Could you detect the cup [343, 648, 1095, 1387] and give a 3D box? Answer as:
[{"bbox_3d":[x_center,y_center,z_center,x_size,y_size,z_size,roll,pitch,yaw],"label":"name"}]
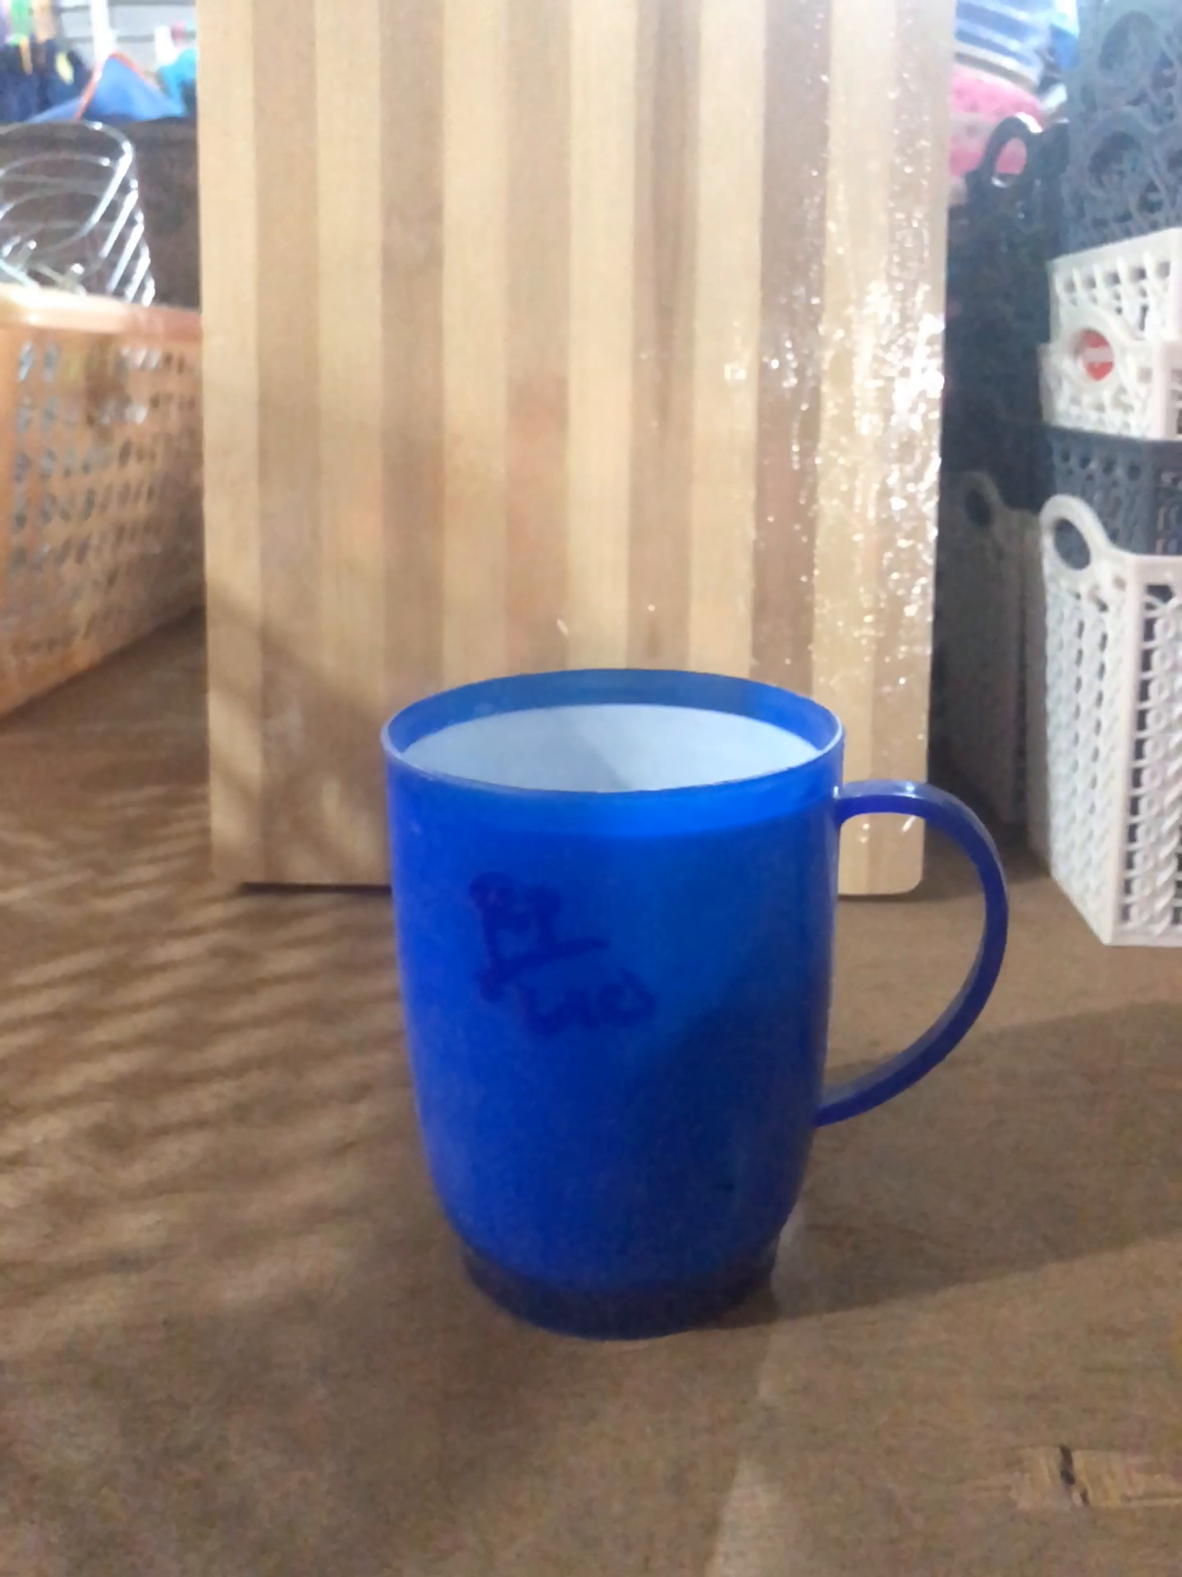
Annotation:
[{"bbox_3d":[0.022,0.036,0.244,0.110,0.110,0.070,1,19,7],"label":"cup"}]
